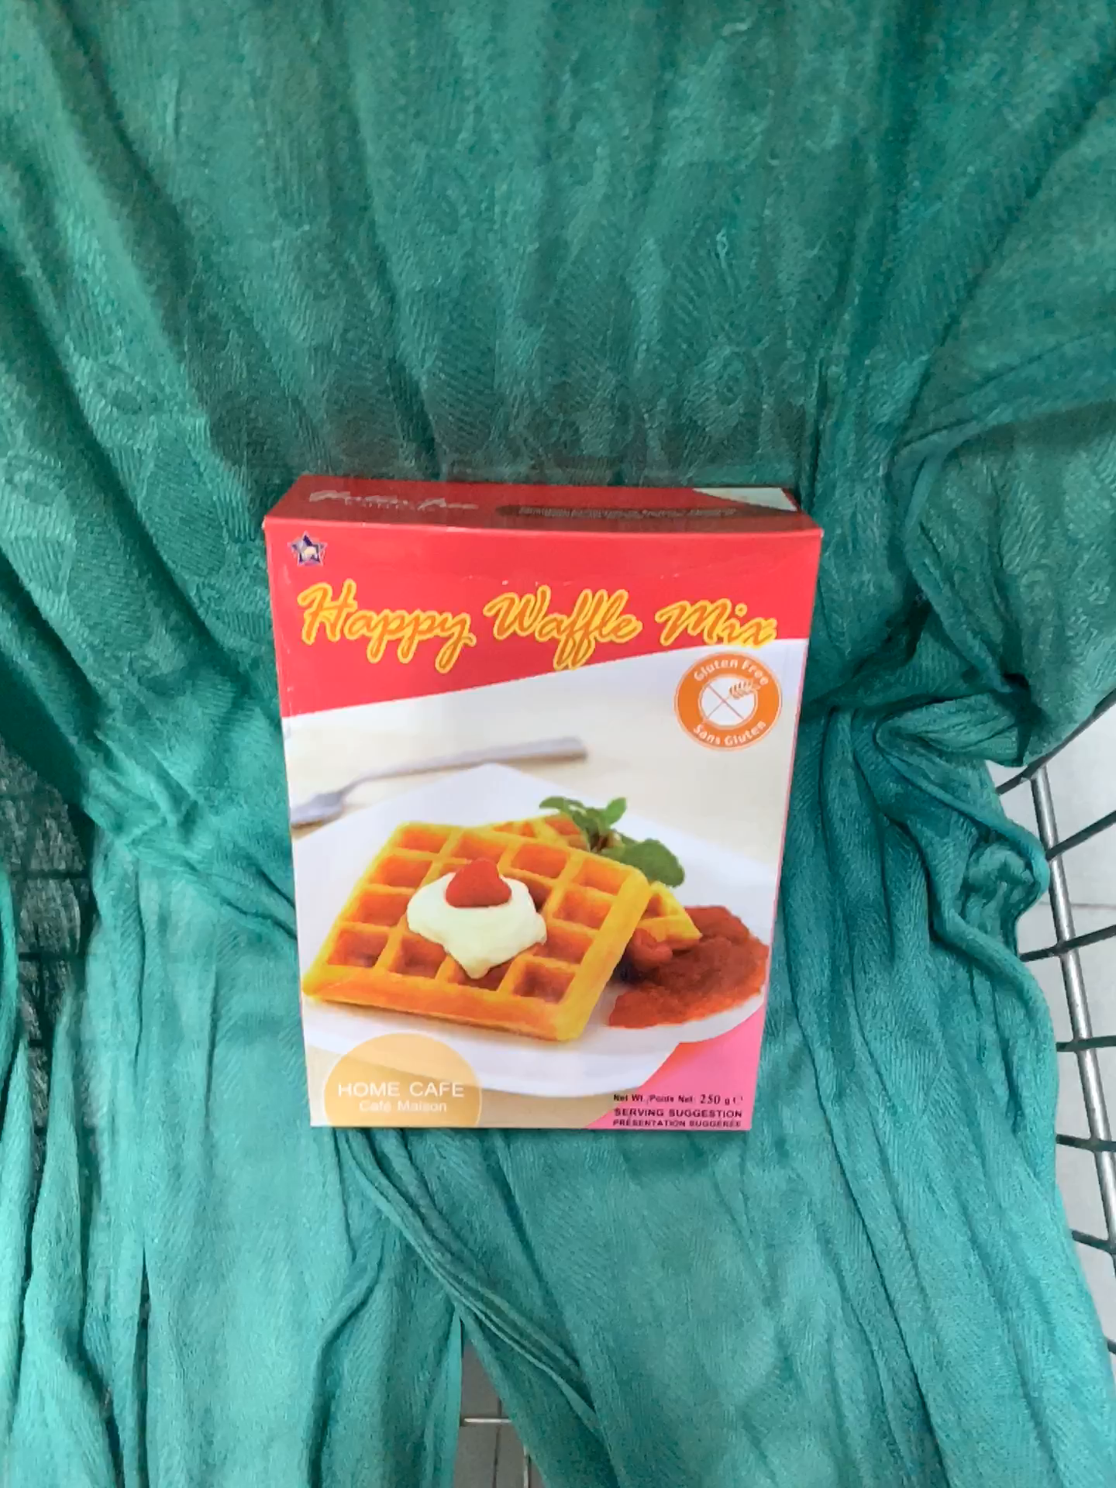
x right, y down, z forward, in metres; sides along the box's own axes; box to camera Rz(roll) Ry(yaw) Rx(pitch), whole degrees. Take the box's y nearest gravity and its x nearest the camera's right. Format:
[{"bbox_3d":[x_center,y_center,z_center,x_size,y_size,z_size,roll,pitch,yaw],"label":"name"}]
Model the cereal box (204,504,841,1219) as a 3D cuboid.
[{"bbox_3d":[-0.009,0.035,0.296,0.130,0.180,0.050,2,26,0],"label":"cereal box"}]
